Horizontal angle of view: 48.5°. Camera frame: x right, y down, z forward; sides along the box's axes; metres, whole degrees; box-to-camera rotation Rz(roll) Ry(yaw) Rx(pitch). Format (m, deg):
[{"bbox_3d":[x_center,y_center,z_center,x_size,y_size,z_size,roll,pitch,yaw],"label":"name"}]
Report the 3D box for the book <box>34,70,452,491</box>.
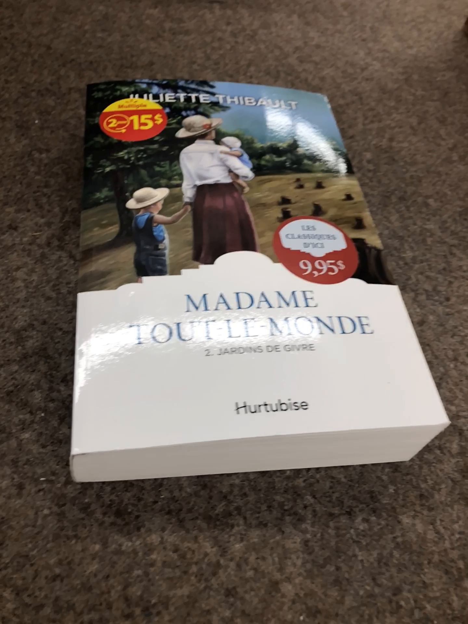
[{"bbox_3d":[-0.007,-0.033,0.274,0.160,0.050,0.222,-2,58,-10],"label":"book"}]
